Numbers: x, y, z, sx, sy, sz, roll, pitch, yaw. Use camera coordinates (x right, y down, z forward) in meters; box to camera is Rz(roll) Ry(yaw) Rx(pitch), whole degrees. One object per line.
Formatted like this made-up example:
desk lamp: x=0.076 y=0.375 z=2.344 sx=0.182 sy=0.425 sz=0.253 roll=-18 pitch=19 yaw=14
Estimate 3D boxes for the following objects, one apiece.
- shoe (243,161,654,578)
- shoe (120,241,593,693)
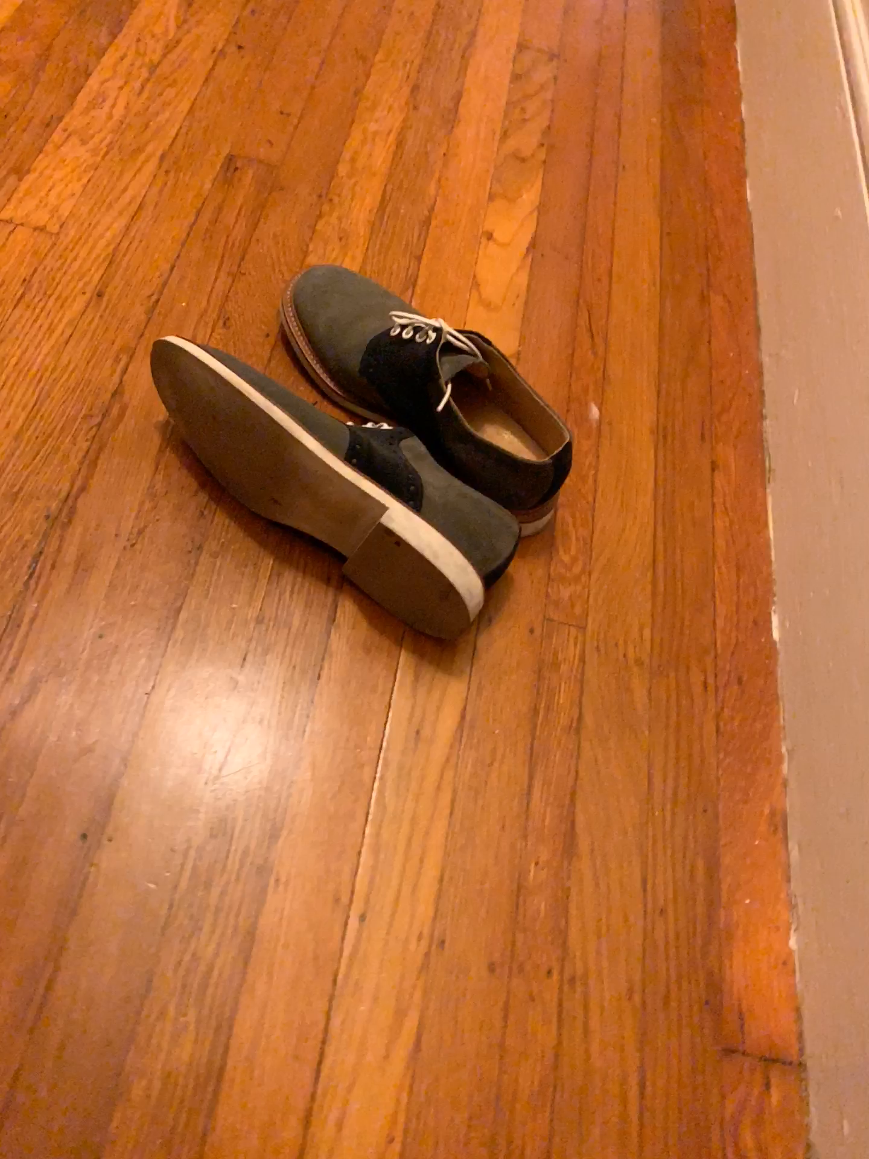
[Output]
shoe: x=-0.002 y=-0.169 z=0.688 sx=0.130 sy=0.100 sz=0.310 roll=-33 pitch=71 yaw=-28
shoe: x=-0.065 y=-0.083 z=0.644 sx=0.310 sy=0.130 sz=0.120 roll=38 pitch=57 yaw=11
